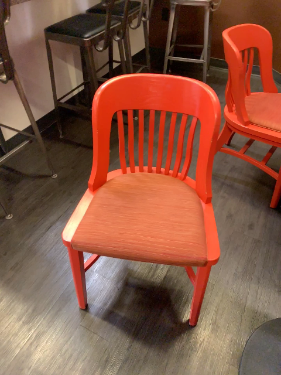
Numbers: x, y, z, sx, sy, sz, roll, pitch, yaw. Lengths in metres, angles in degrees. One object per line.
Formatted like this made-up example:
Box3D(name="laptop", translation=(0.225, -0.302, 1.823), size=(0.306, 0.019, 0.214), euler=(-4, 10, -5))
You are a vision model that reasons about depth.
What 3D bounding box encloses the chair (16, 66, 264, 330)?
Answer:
Box3D(name="chair", translation=(0.026, 0.060, 1.128), size=(0.560, 0.806, 0.582), euler=(6, 44, 6))
